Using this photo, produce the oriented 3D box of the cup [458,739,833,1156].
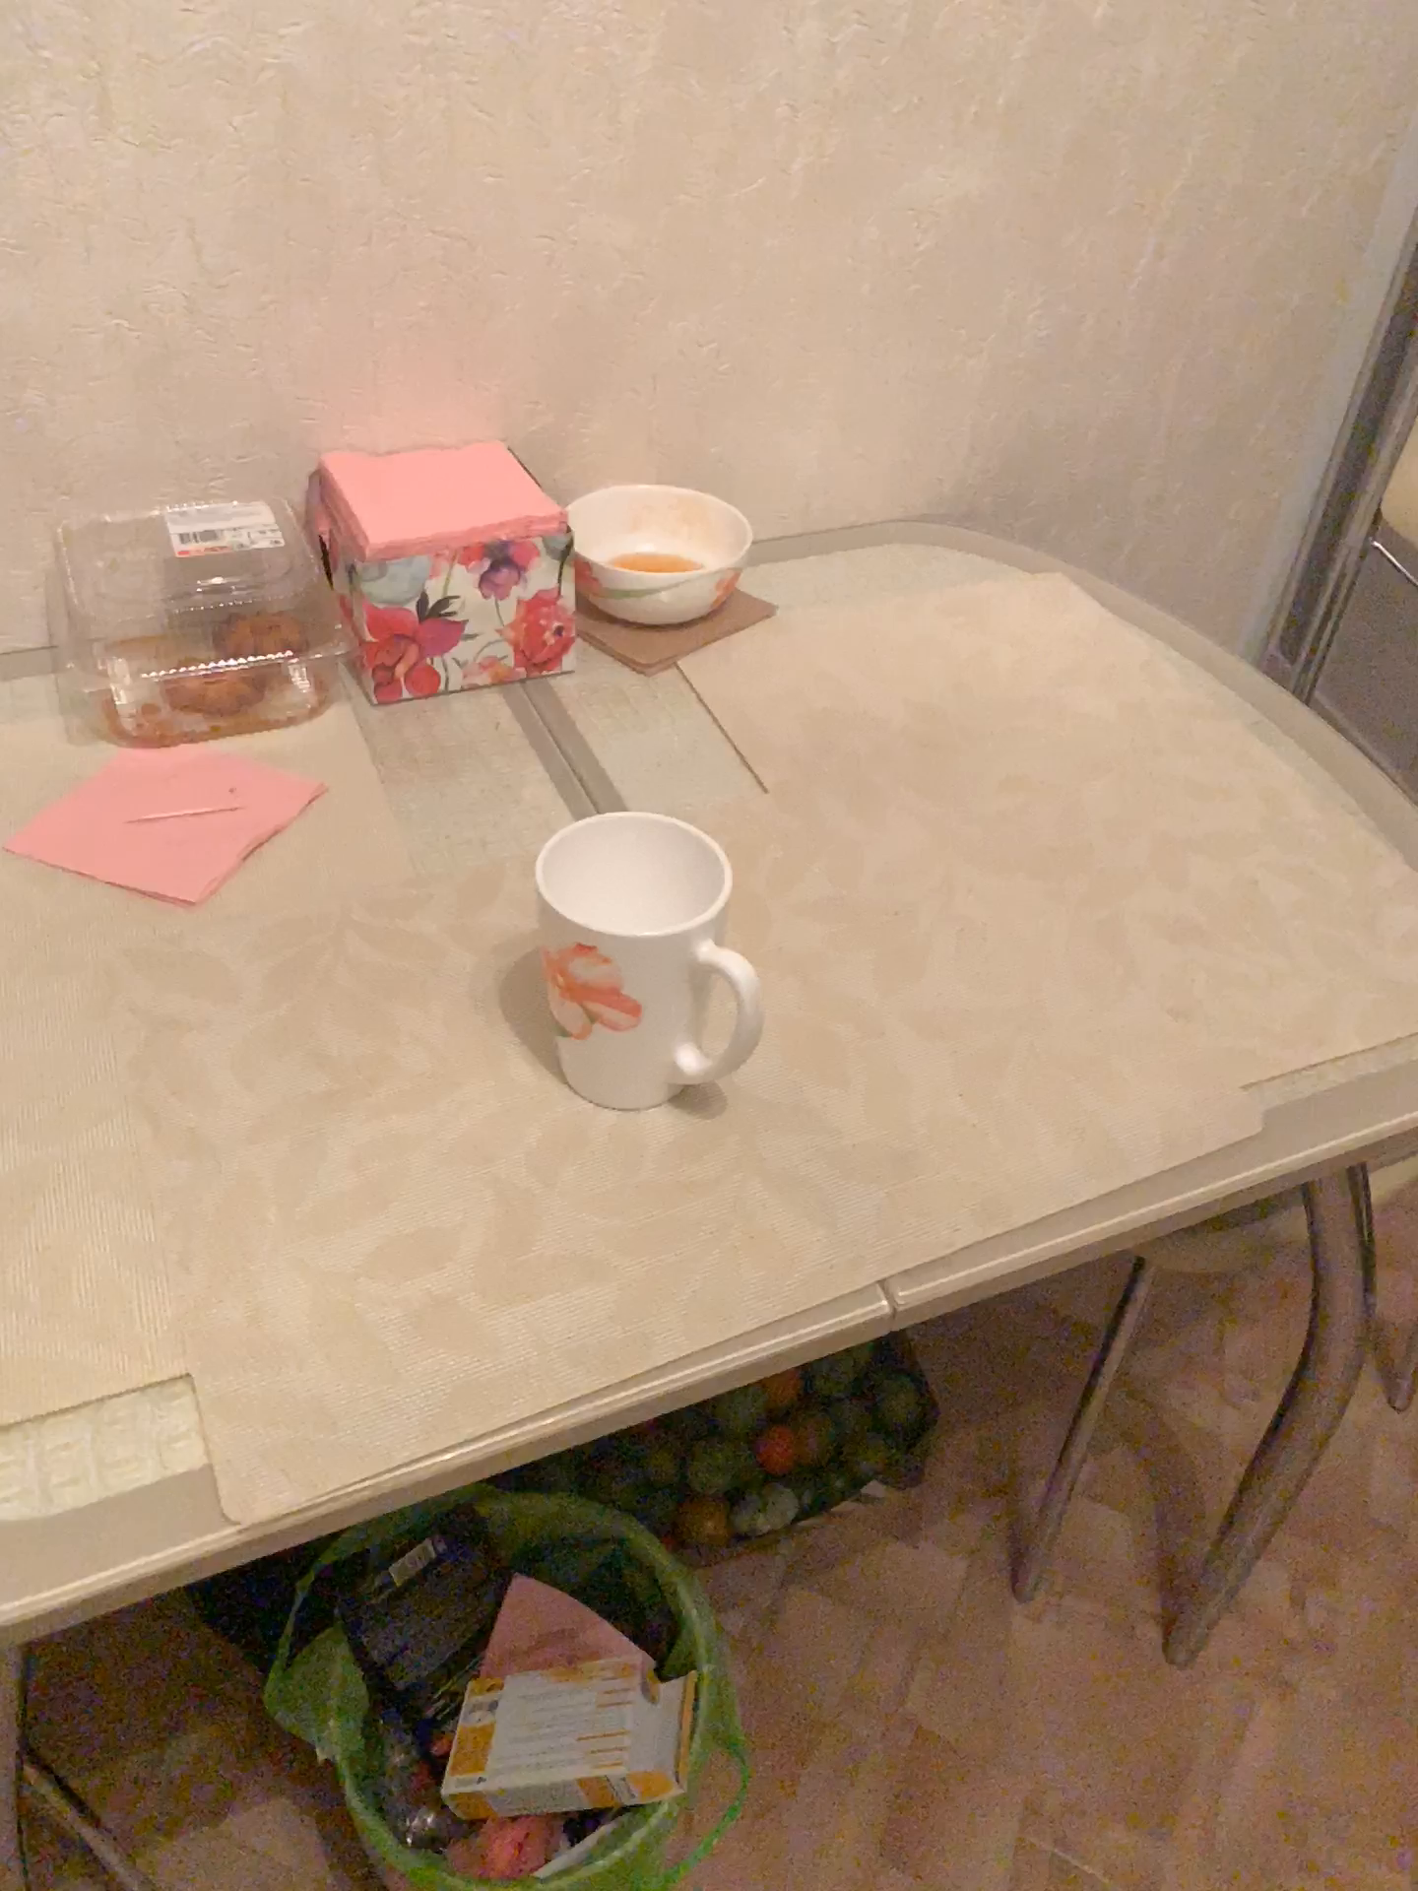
[{"bbox_3d":[-0.027,-0.002,0.588,0.119,0.099,0.084,31,48,28],"label":"cup"}]
